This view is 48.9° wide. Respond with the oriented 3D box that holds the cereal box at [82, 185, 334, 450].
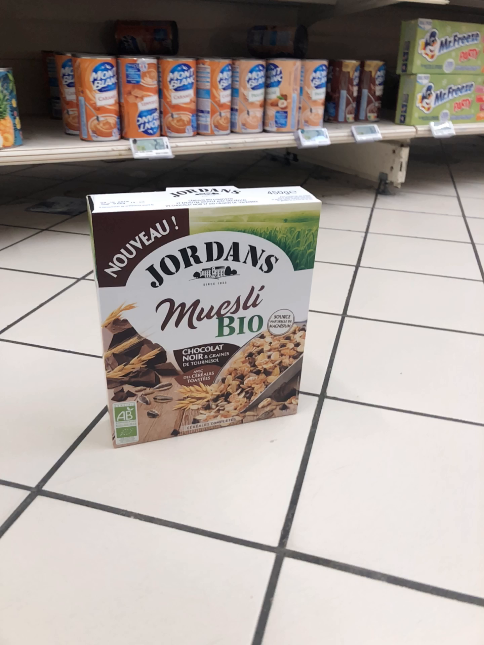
[{"bbox_3d":[-0.028,-0.005,0.463,0.190,0.209,0.050,-7,28,-17],"label":"cereal box"}]
